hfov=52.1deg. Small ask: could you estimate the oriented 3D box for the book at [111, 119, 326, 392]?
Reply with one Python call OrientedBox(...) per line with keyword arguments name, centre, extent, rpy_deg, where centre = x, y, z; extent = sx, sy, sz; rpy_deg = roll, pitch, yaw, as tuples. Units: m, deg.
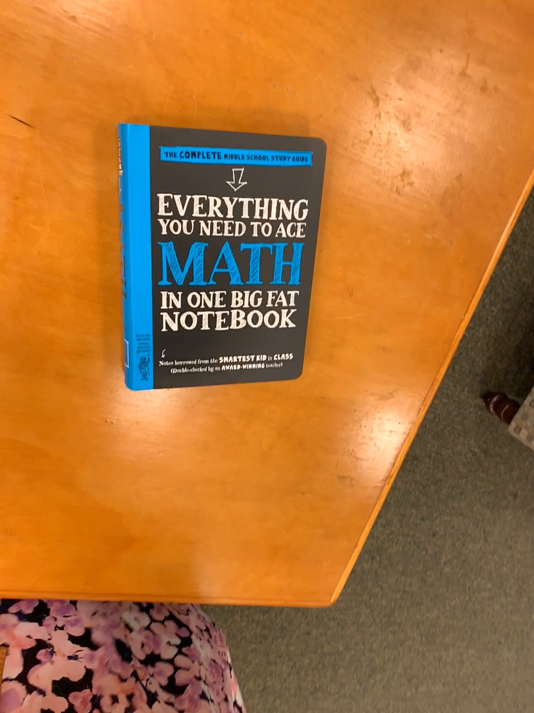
OrientedBox(name="book", centre=(-0.044, -0.078, 0.460), extent=(0.160, 0.040, 0.211), rpy_deg=(-3, 113, -17))
